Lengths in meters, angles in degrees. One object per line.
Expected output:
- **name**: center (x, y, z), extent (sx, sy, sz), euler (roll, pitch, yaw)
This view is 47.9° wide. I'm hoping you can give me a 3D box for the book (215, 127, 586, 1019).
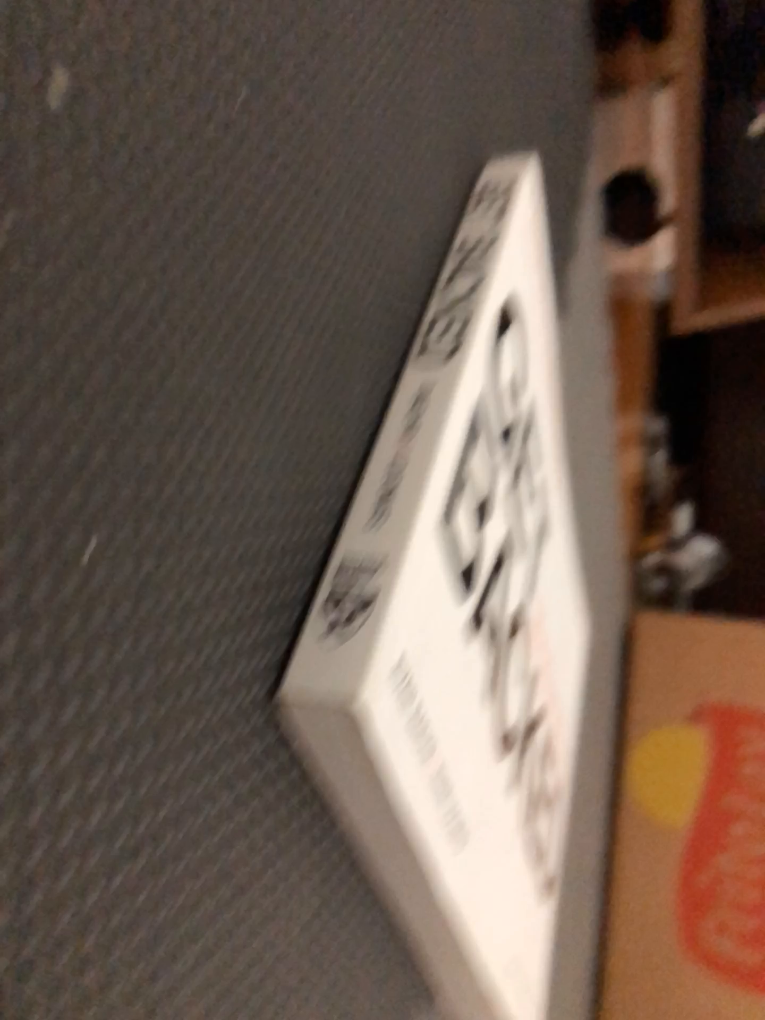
- **book**: center (0.039, 0.048, 0.289), extent (0.260, 0.020, 0.211), euler (72, 28, -44)
